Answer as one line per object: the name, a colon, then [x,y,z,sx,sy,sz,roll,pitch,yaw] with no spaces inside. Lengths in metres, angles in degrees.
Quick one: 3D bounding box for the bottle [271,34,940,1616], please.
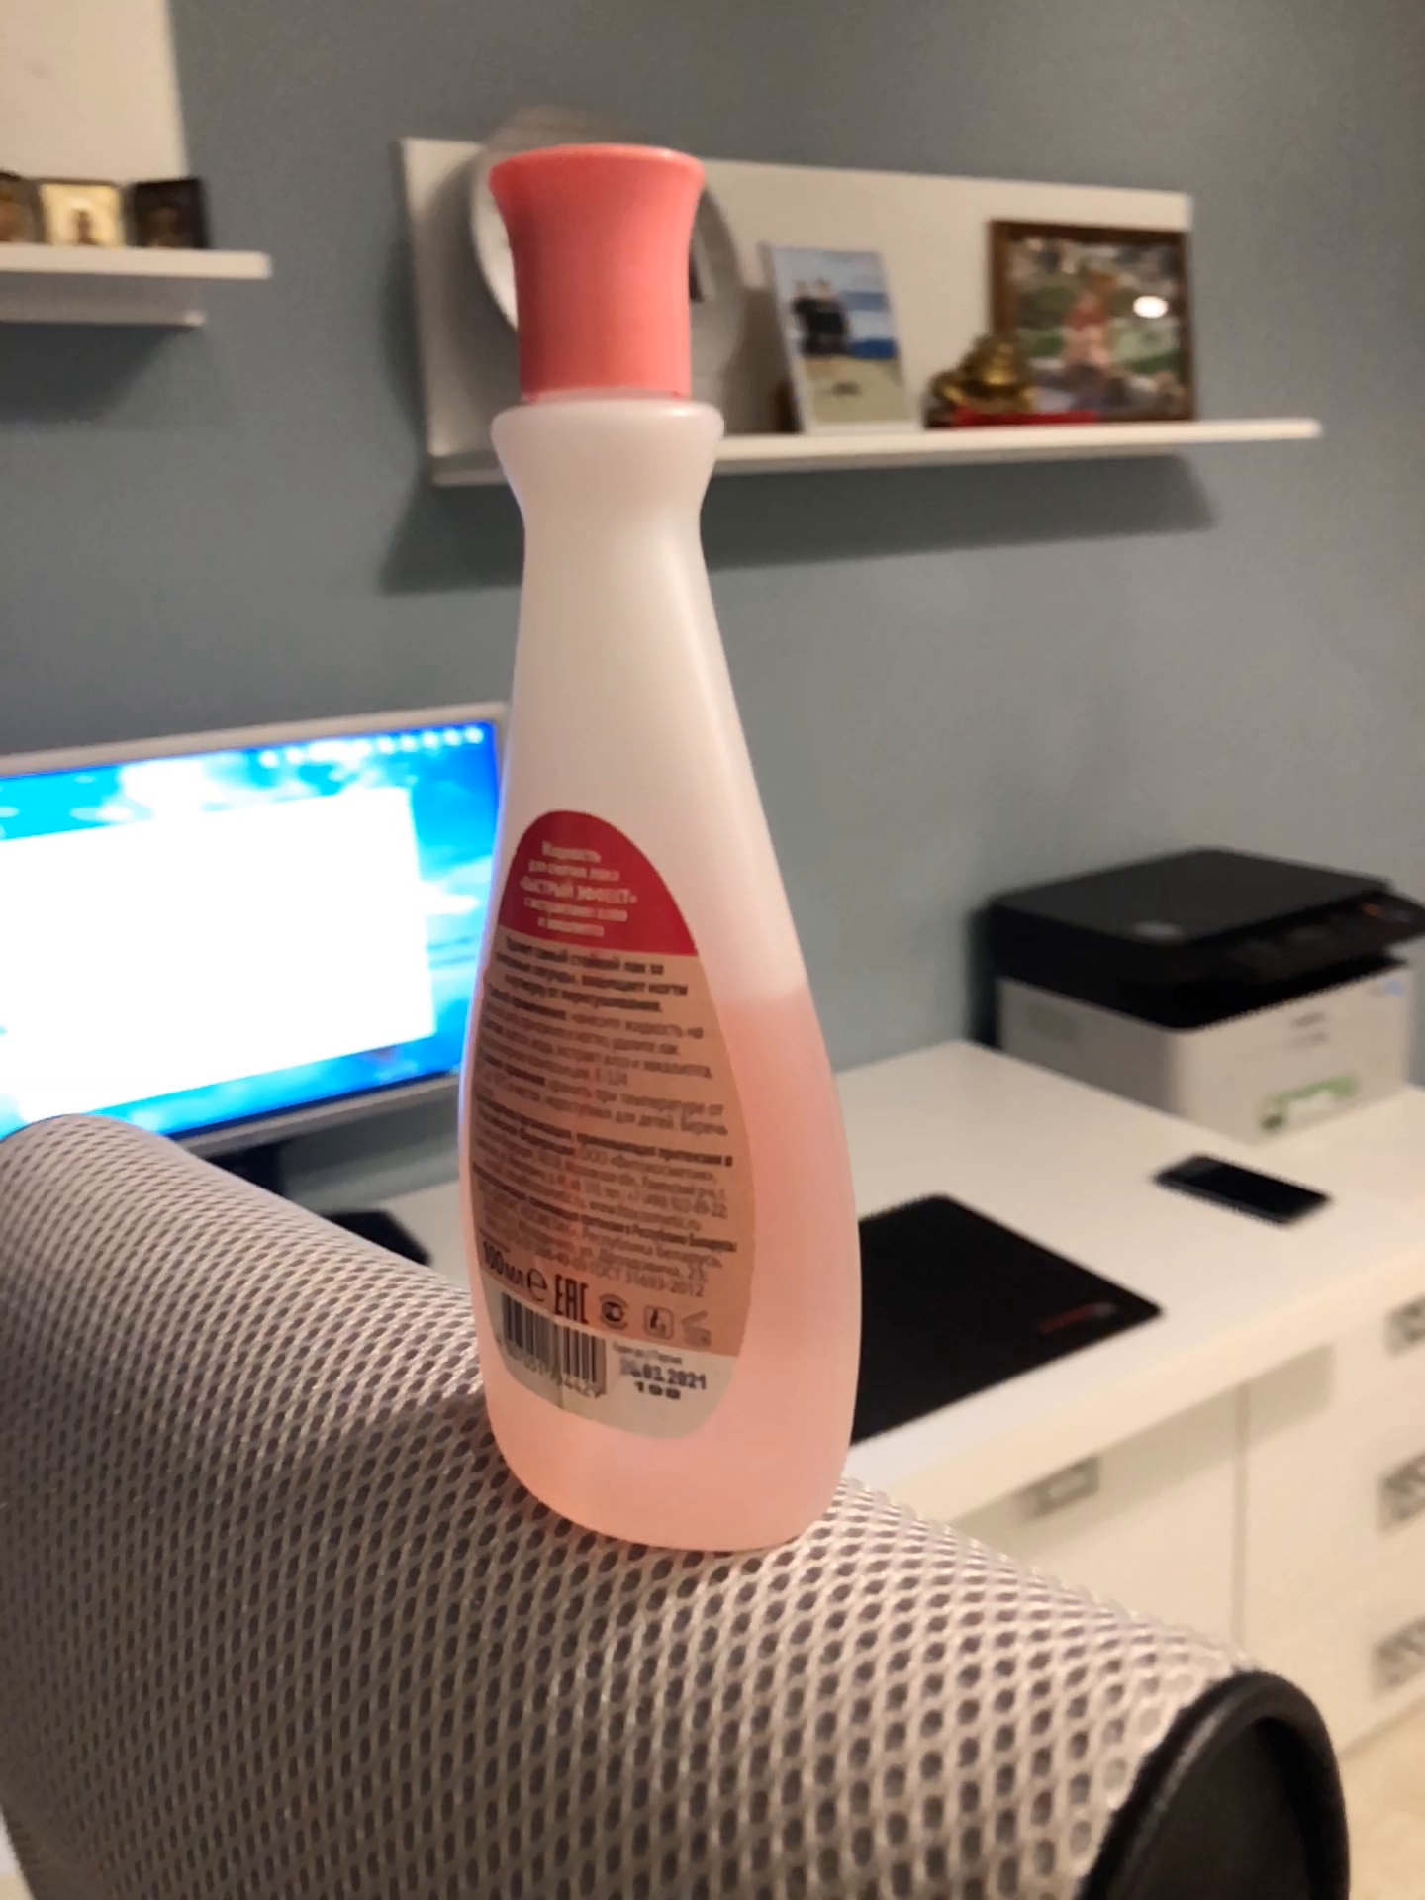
bottle: [-0.008,-0.010,0.186,0.056,0.157,0.039,7,18,34]
